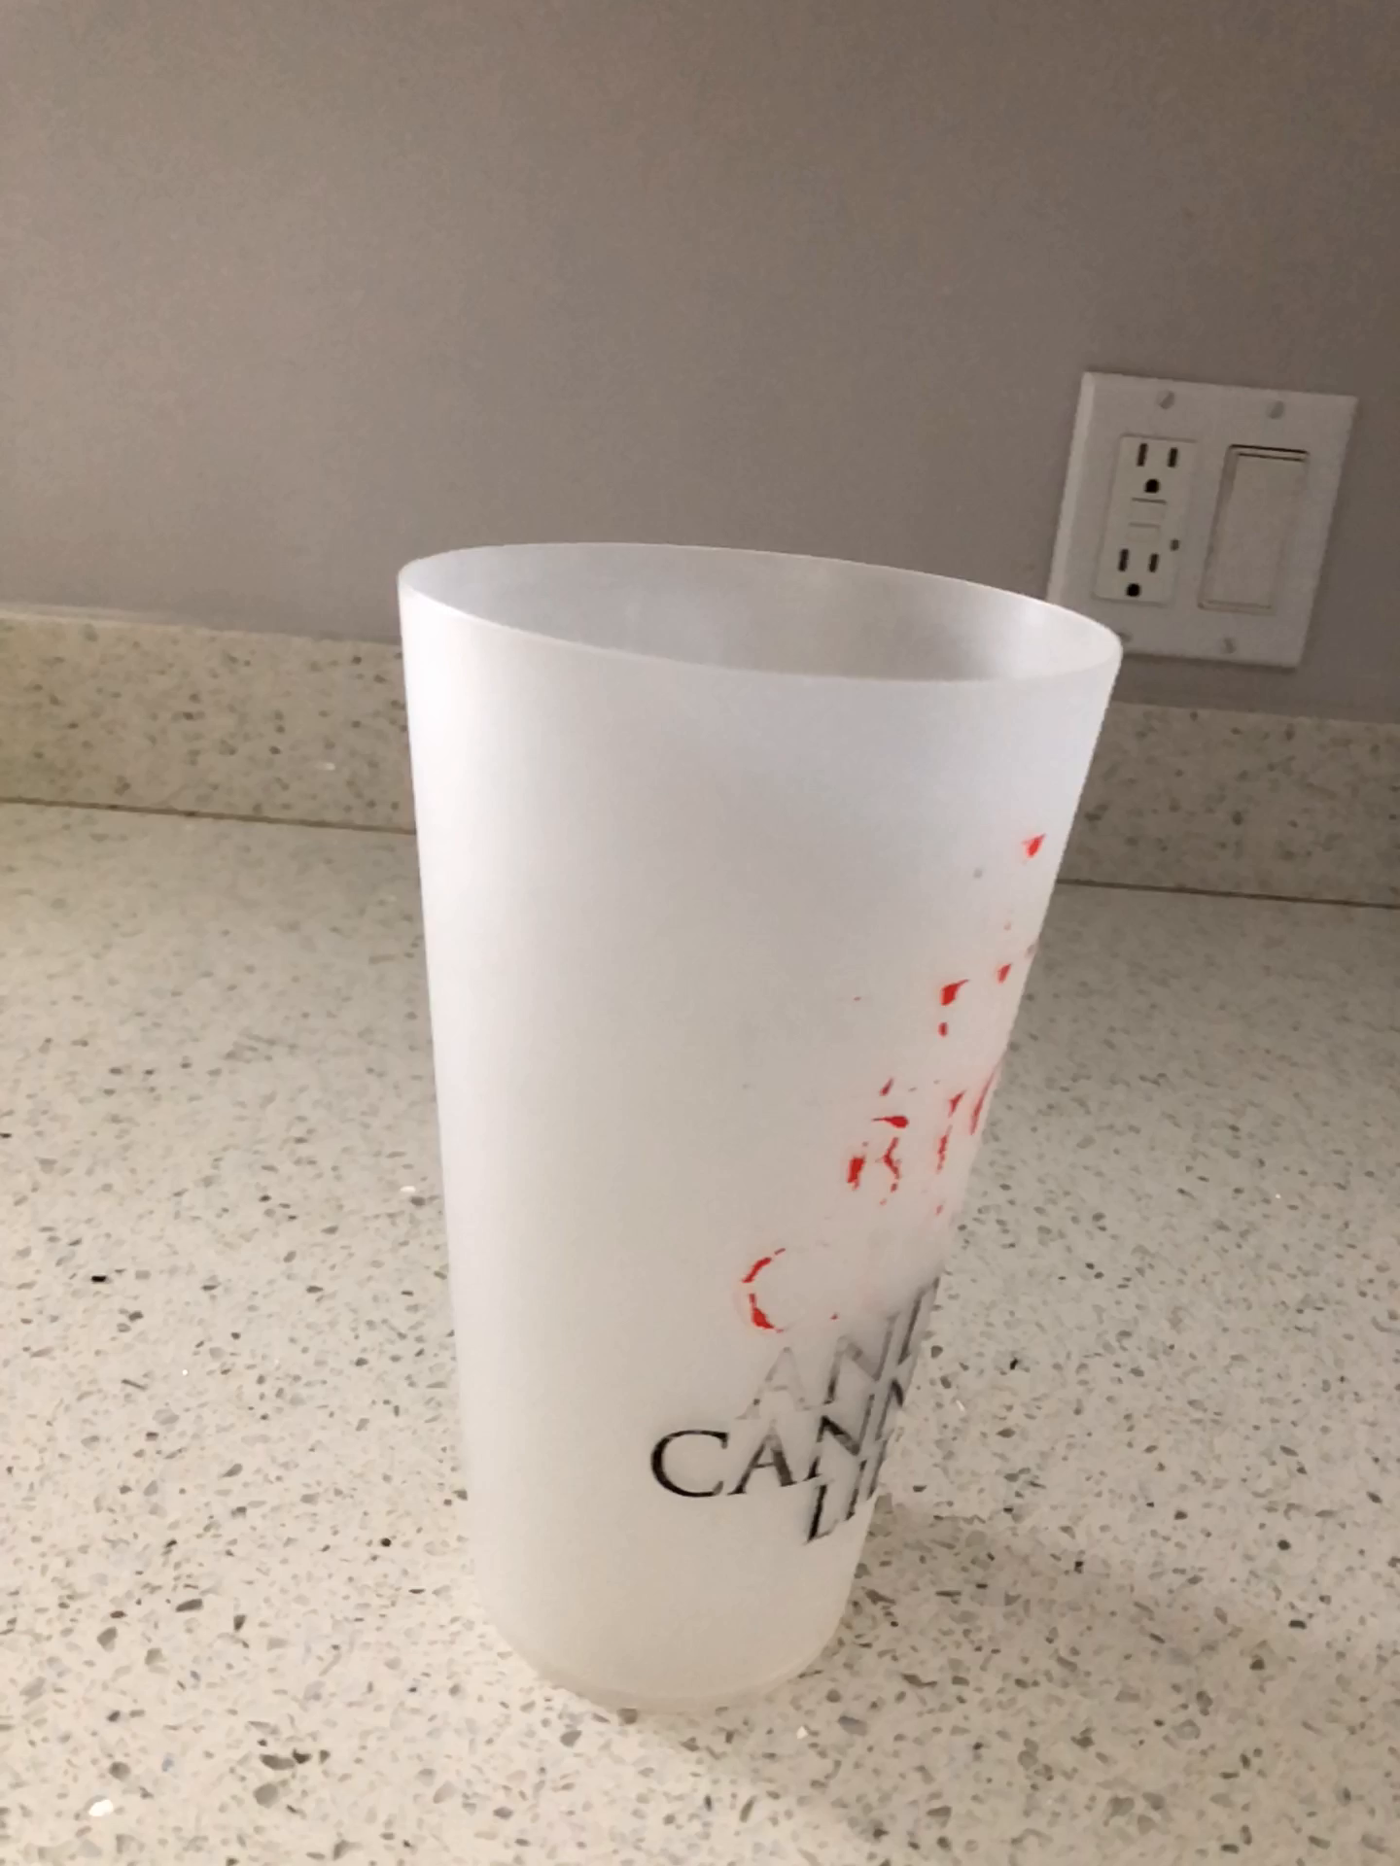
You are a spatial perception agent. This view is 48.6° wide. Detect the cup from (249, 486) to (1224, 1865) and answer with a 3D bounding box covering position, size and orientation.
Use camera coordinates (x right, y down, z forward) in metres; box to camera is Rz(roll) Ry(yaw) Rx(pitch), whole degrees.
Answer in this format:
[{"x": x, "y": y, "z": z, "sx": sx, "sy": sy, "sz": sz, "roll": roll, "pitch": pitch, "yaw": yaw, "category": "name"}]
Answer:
[{"x": 0.001, "y": 0.024, "z": 0.240, "sx": 0.094, "sy": 0.166, "sz": 0.096, "roll": 4, "pitch": 21, "yaw": -2, "category": "cup"}]
